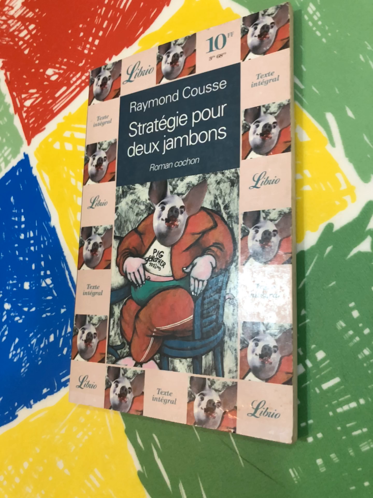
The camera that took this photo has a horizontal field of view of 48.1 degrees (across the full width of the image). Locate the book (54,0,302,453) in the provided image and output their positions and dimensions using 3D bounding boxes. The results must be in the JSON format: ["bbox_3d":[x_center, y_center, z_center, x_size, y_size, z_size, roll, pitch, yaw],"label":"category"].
[{"bbox_3d":[-0.009,-0.015,0.213,0.130,0.014,0.197,-3,81,31],"label":"book"}]
